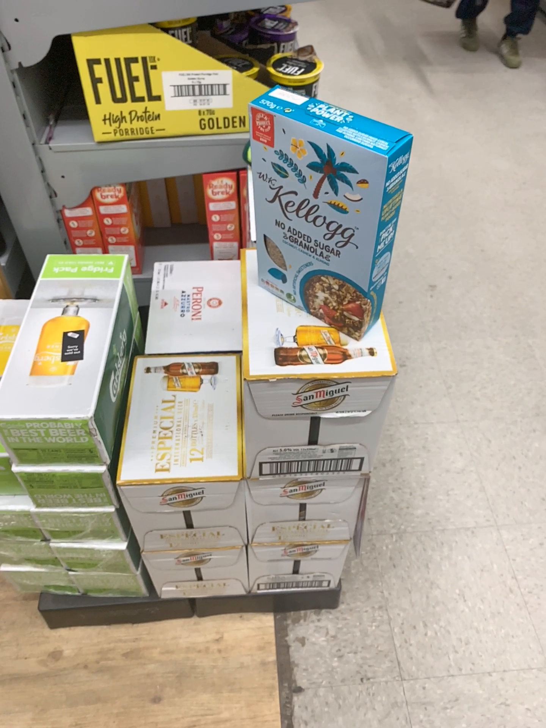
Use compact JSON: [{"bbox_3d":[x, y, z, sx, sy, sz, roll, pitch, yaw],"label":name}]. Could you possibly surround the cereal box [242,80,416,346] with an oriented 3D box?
[{"bbox_3d":[0.052,-0.153,0.615,0.161,0.248,0.050,32,59,25],"label":"cereal box"}]
